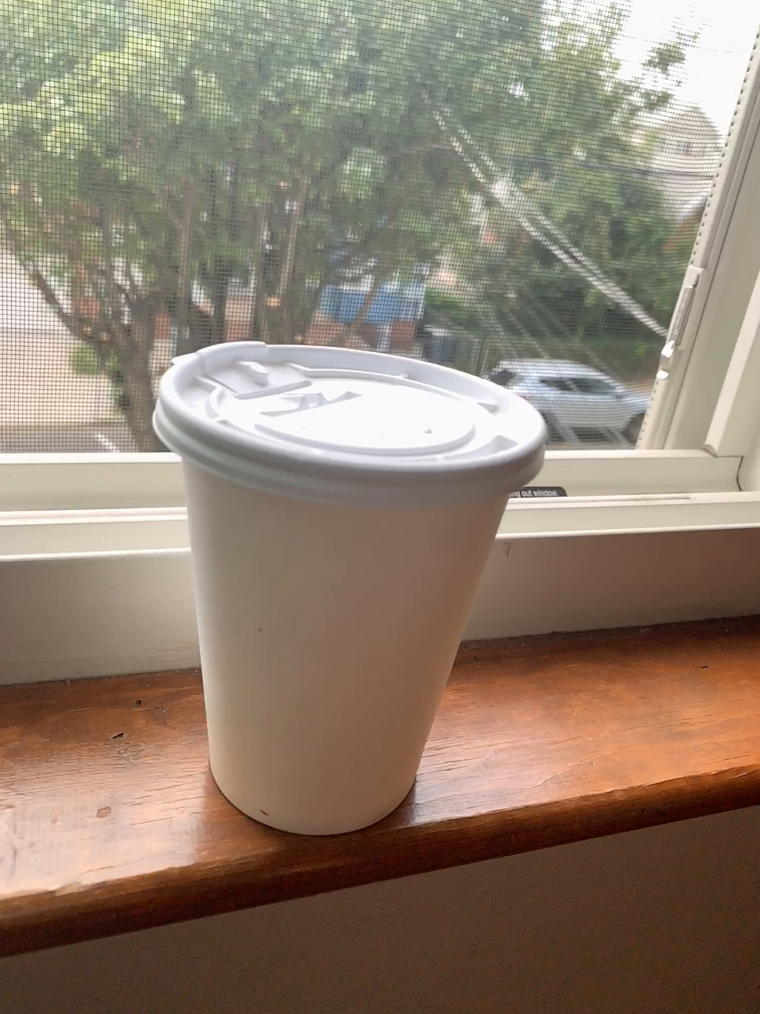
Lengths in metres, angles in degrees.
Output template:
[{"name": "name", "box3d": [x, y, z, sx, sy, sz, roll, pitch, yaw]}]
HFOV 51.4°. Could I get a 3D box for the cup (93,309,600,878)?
[{"name": "cup", "box3d": [-0.010, 0.015, 0.200, 0.090, 0.099, 0.091, 7, 25, -3]}]
